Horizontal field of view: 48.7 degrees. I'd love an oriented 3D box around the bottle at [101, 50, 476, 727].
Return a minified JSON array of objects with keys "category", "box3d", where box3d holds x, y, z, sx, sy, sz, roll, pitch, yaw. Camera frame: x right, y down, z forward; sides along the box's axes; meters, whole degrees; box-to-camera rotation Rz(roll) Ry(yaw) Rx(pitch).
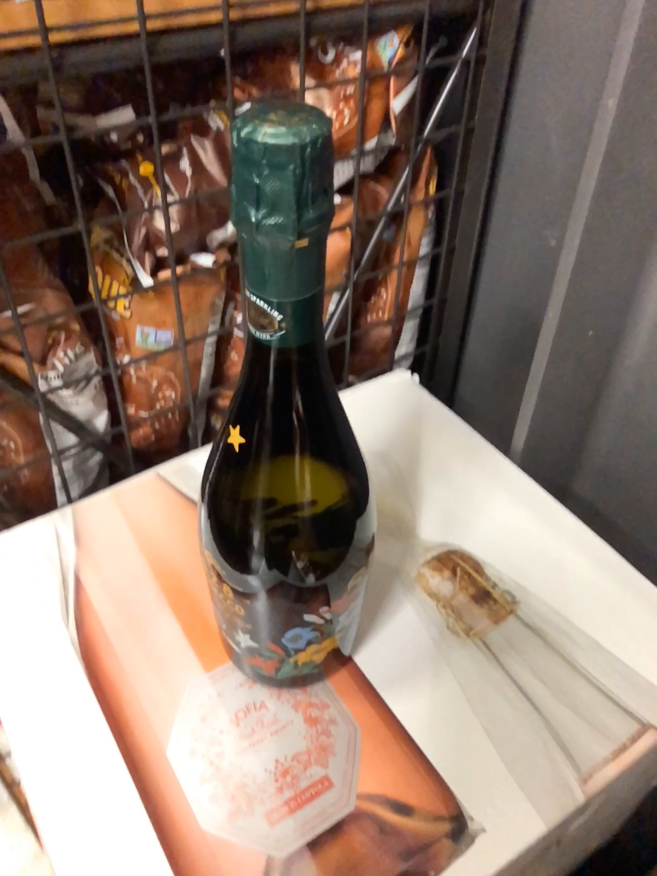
[{"category":"bottle","box3d":[-0.020,0.000,0.337,0.090,0.298,0.090,1,41,-1]}]
